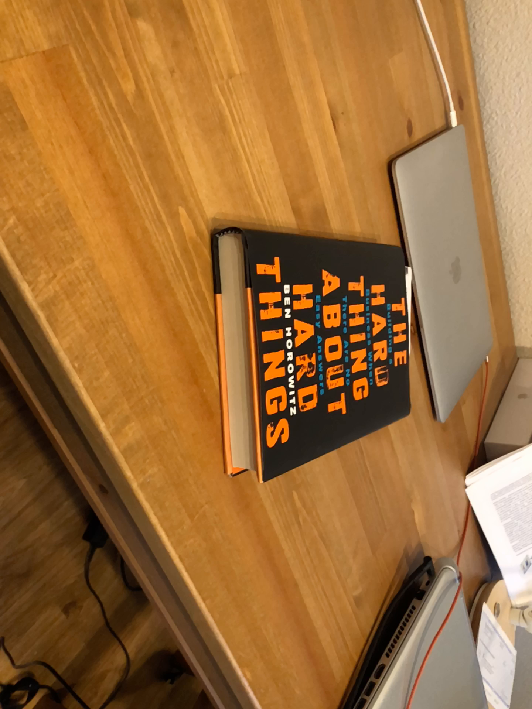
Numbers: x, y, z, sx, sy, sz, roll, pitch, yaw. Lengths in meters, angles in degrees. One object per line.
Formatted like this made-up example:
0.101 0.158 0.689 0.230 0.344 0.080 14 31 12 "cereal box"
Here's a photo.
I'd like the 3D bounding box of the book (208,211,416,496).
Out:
0.049 -0.011 0.427 0.221 0.030 0.160 -11 99 -53 "book"
